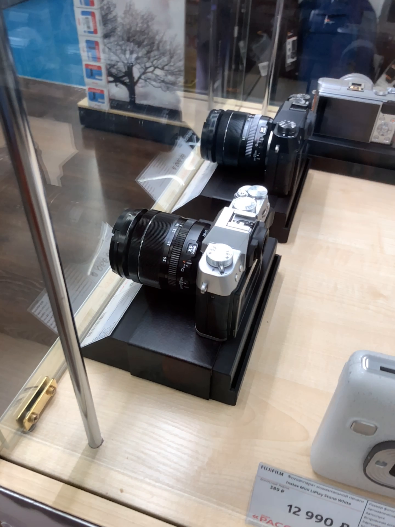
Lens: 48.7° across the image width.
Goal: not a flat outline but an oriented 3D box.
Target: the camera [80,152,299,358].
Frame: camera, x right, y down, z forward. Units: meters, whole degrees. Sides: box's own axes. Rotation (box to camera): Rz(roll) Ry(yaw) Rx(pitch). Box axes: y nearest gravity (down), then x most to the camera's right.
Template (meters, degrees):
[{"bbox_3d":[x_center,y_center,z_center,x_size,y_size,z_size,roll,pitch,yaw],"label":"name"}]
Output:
[{"bbox_3d":[-0.001,-0.015,0.359,0.130,0.080,0.124,16,44,15],"label":"camera"}]

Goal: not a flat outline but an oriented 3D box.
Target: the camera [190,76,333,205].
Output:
[{"bbox_3d":[0.076,-0.150,0.518,0.130,0.080,0.124,16,44,15],"label":"camera"}]

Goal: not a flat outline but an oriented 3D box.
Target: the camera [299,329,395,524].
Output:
[{"bbox_3d":[0.121,0.100,0.260,0.094,0.110,0.039,13,44,11],"label":"camera"}]
